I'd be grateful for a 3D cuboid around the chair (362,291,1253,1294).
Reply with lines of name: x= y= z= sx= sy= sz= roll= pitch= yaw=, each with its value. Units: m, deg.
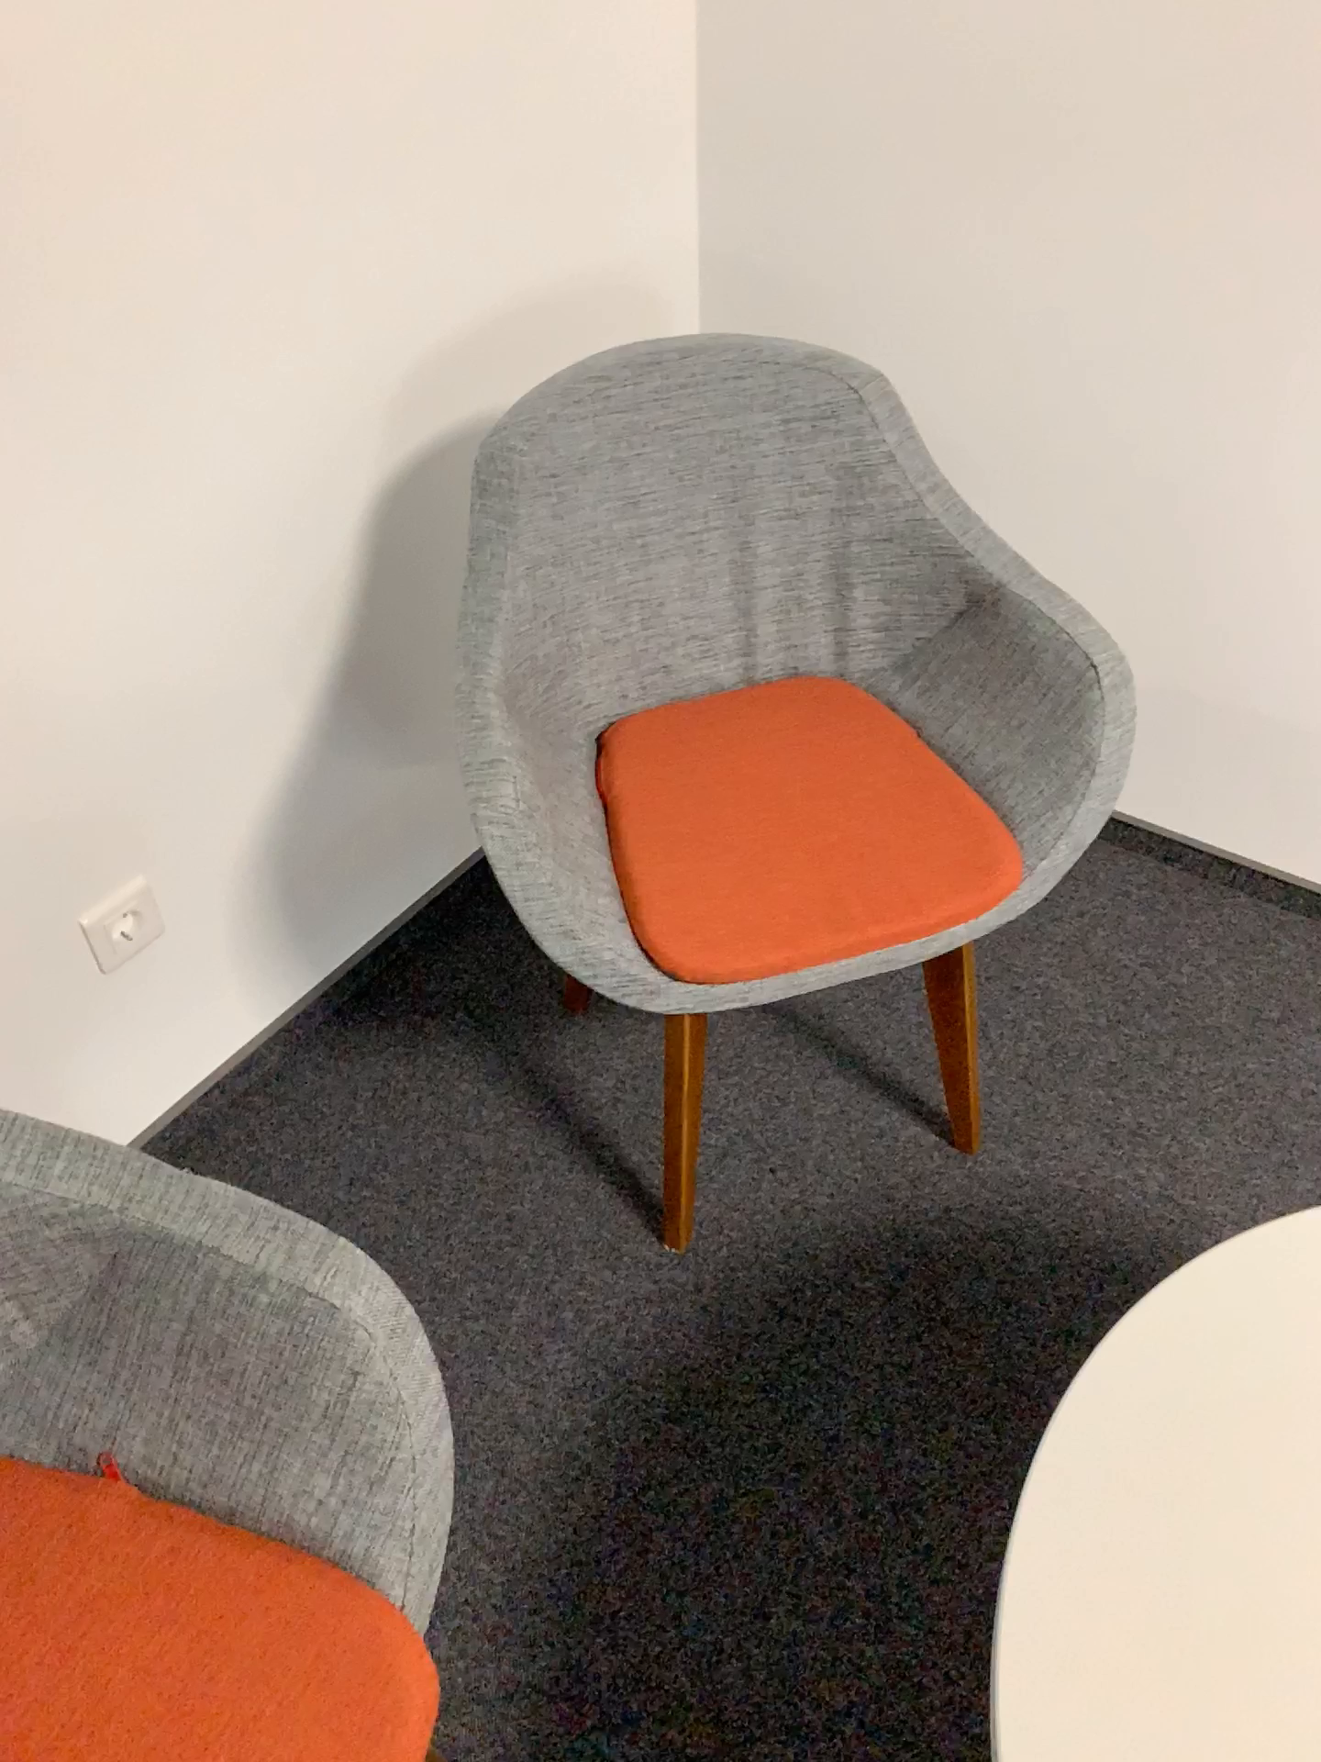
chair: x=0.103 y=-0.081 z=1.458 sx=0.630 sy=0.835 sz=0.502 roll=-13 pitch=44 yaw=-12
